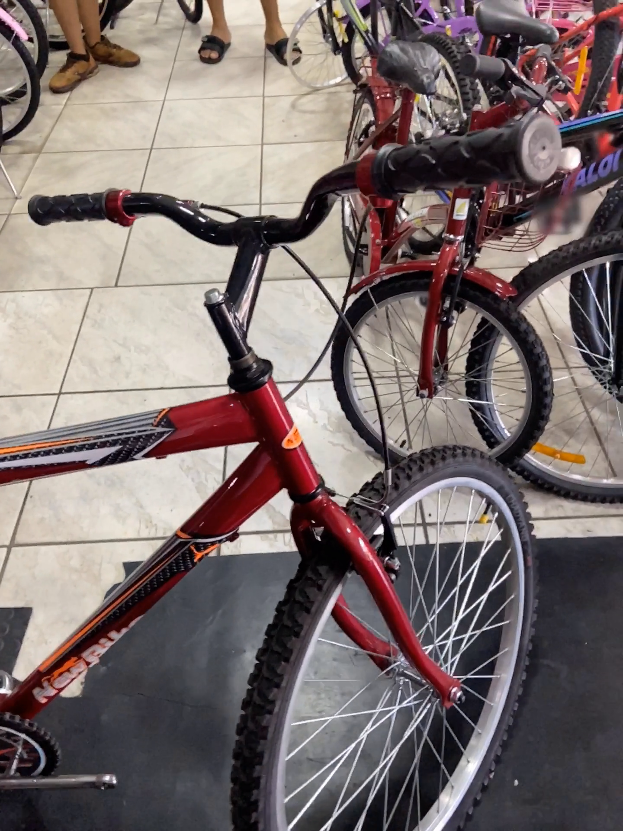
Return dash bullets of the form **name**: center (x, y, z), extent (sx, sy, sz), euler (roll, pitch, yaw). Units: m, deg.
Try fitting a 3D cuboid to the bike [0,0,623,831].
- **bike**: center (-0.464, 0.104, 0.763), extent (1.582, 1.029, 0.568), euler (-12, 49, -4)
